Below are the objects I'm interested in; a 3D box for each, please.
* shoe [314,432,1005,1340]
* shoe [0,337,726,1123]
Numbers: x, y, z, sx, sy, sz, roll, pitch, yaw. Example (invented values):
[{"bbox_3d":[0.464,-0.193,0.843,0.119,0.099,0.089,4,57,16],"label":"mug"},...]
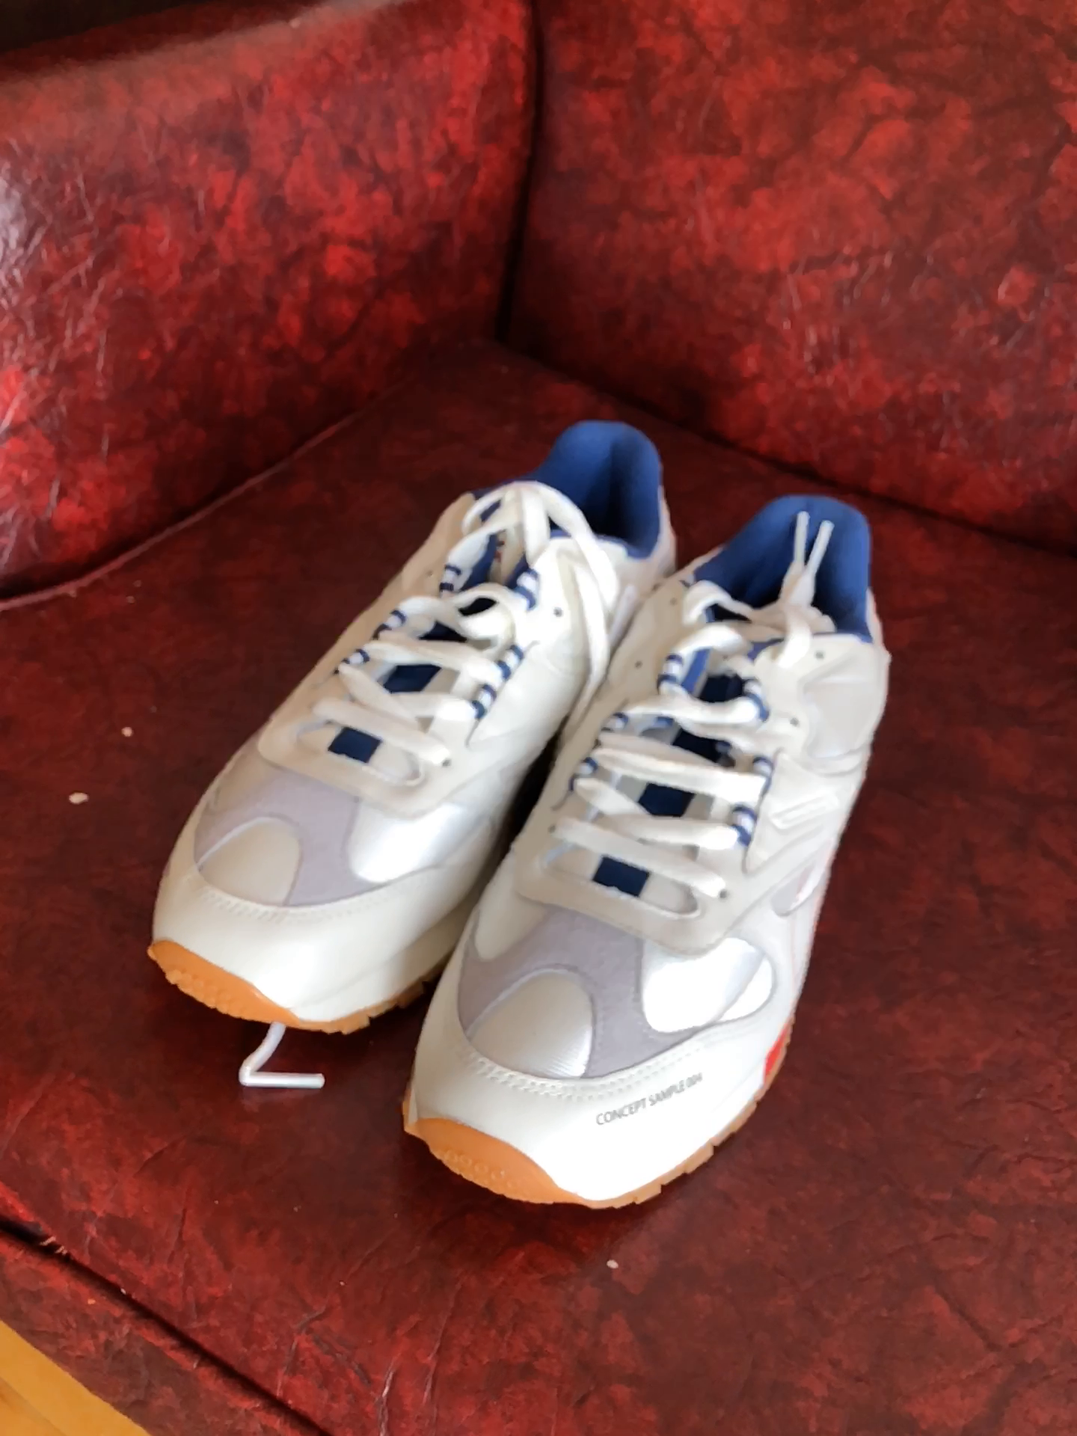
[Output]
[{"bbox_3d":[0.054,0.030,0.393,0.110,0.099,0.272,22,48,16],"label":"shoe"},{"bbox_3d":[-0.041,-0.017,0.428,0.110,0.099,0.272,22,48,16],"label":"shoe"}]
